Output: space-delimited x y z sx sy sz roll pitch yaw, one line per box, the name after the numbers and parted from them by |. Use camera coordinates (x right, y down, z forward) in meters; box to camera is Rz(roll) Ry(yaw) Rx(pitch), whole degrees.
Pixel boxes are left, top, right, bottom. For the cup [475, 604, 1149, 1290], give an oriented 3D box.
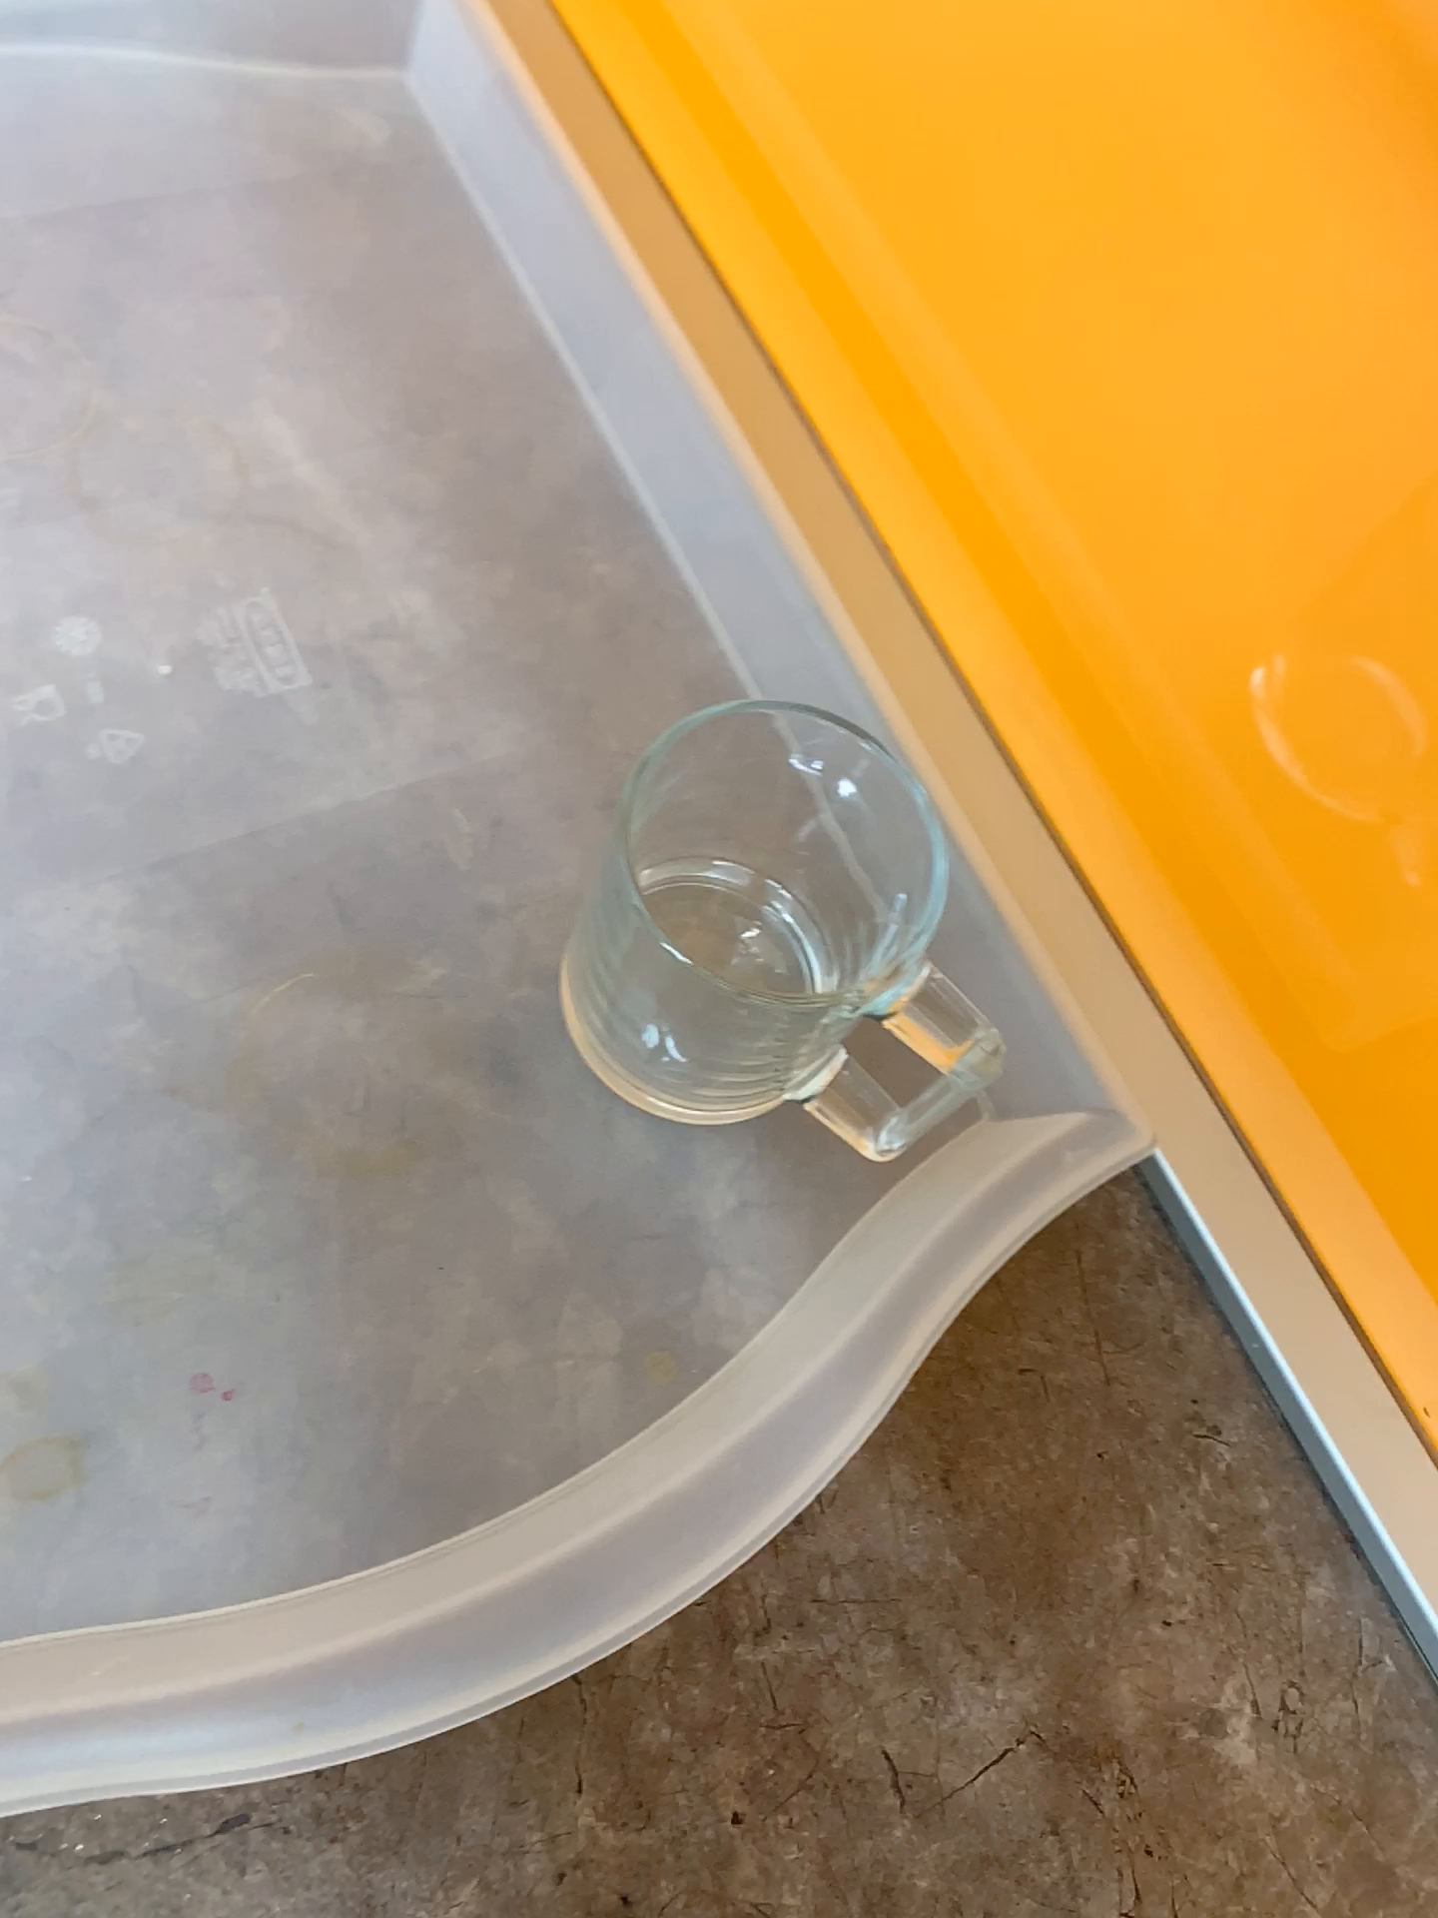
0.015 0.003 0.354 0.108 0.104 0.081 44 65 5 | cup
